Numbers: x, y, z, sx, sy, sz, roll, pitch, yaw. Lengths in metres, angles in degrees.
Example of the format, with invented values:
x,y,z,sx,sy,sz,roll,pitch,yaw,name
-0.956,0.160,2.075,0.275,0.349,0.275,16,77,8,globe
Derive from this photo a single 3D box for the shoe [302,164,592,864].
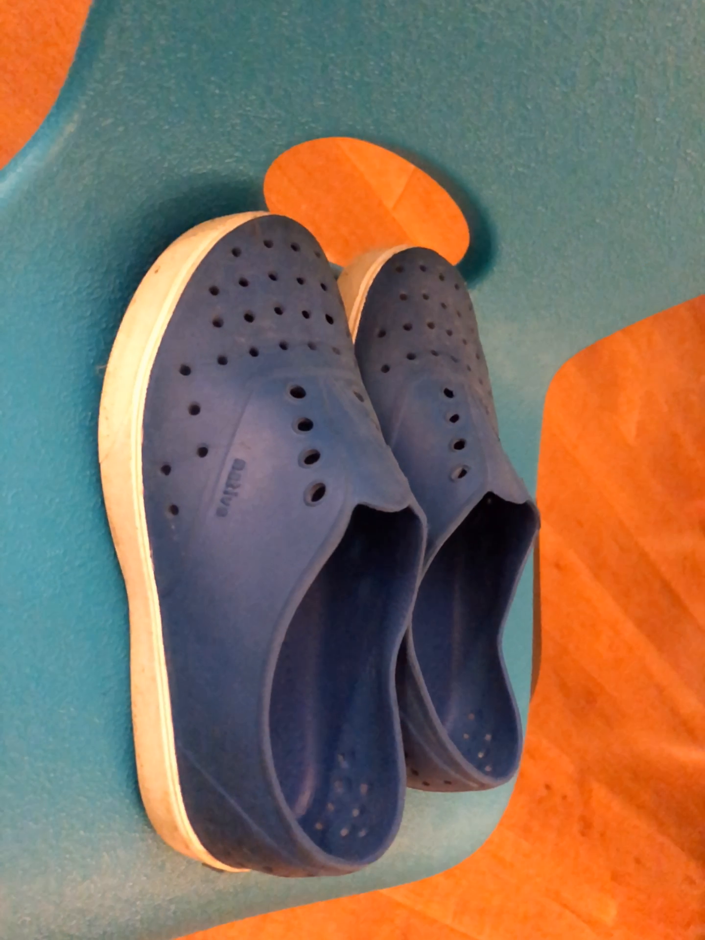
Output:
x,y,z,sx,sy,sz,roll,pitch,yaw,name
0.040,0.015,0.327,0.100,0.070,0.240,6,82,-45,shoe

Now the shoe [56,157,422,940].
x,y,z,sx,sy,sz,roll,pitch,yaw,name
-0.037,0.022,0.269,0.090,0.080,0.210,6,82,-45,shoe
